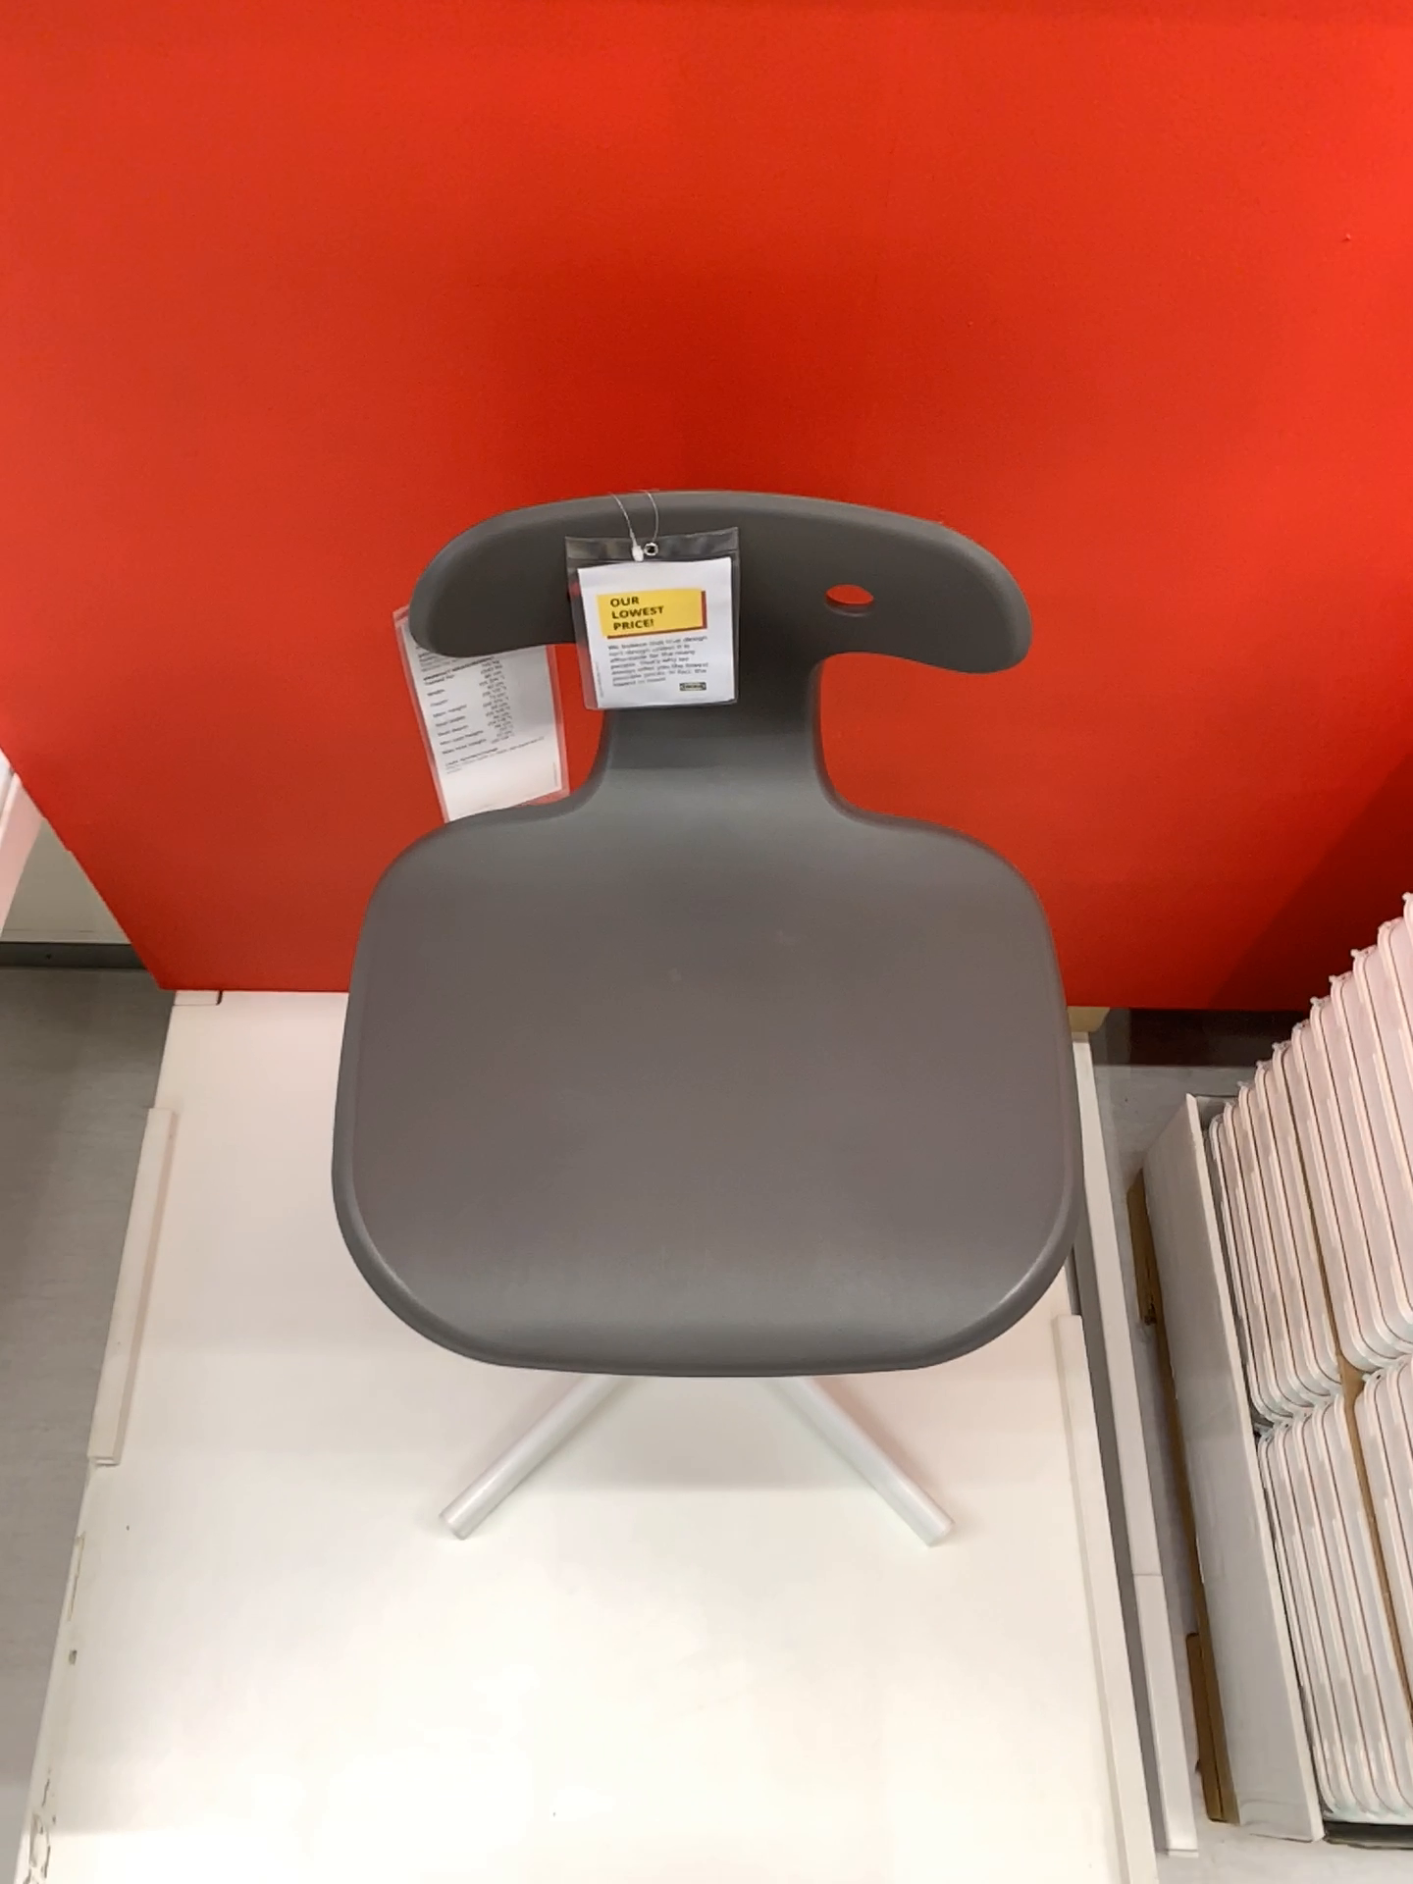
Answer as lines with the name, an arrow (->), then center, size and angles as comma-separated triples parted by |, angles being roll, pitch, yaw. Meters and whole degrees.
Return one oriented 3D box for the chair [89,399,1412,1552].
chair -> 0.011, 0.098, 0.916 | 0.460, 0.699, 0.451 | 0, 60, -1
